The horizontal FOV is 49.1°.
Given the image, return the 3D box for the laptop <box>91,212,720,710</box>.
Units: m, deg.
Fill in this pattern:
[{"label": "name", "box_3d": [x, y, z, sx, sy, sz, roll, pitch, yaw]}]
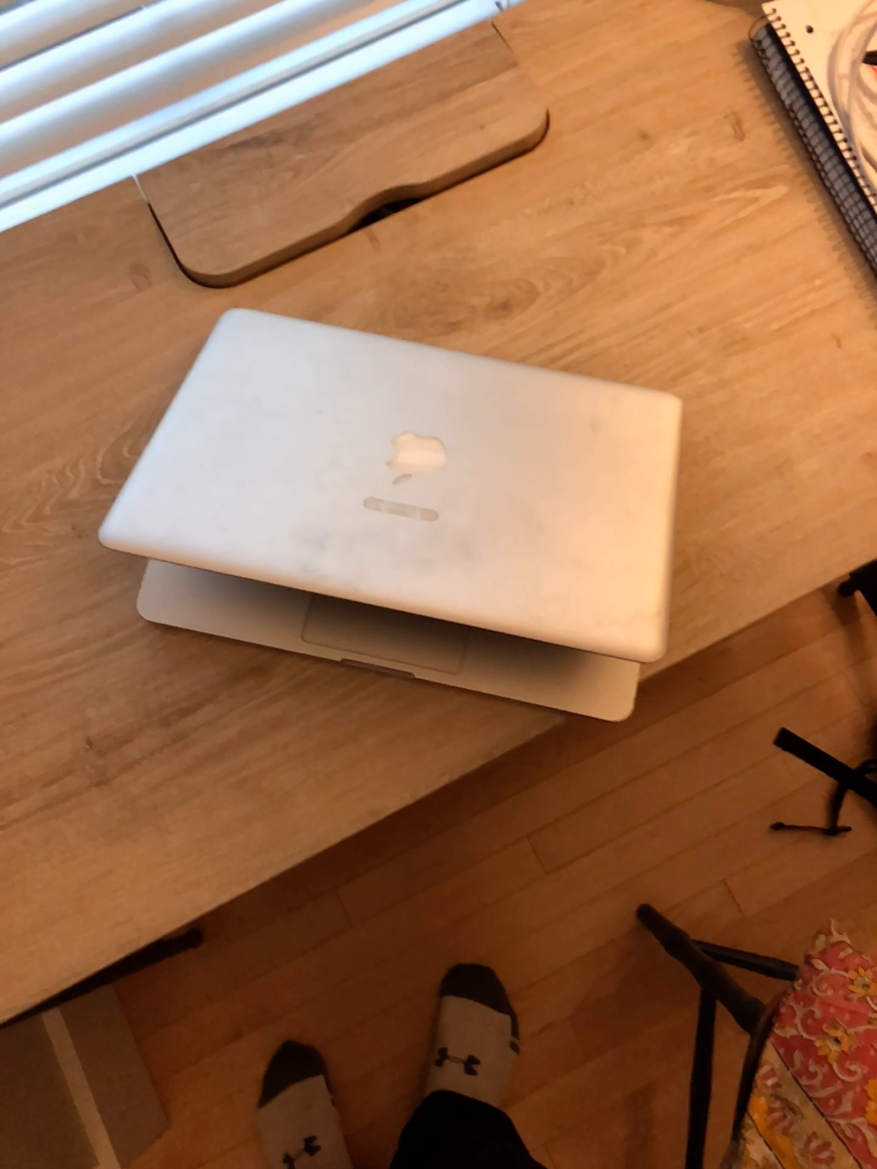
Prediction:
[{"label": "laptop", "box_3d": [-0.012, -0.076, 0.590, 0.318, 0.090, 0.228, 12, 75, 4]}]
